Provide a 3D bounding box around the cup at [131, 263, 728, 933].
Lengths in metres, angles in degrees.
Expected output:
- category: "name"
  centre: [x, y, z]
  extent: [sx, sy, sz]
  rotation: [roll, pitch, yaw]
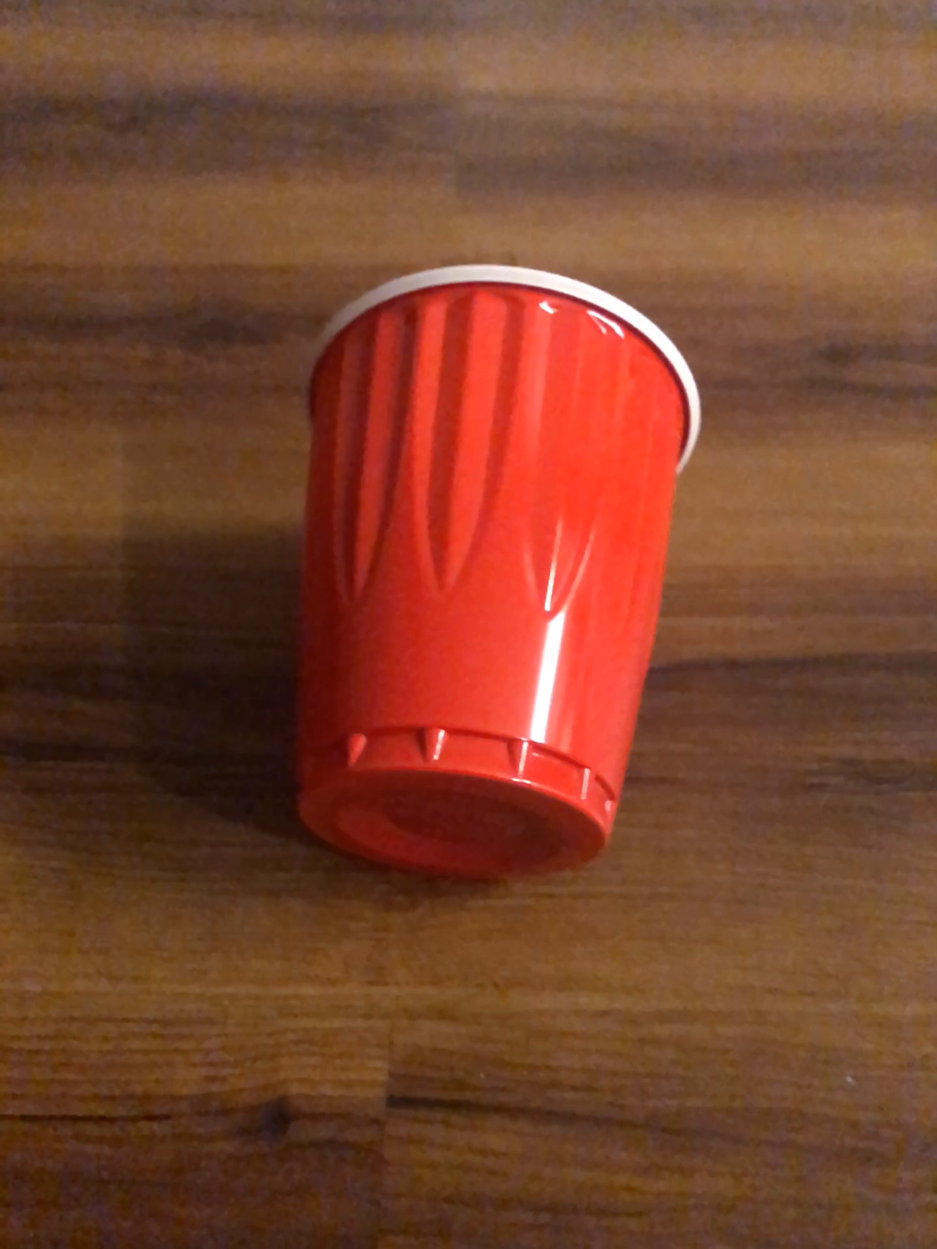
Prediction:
- category: "cup"
  centre: [0.001, -0.005, 0.240]
  extent: [0.099, 0.089, 0.115]
  rotation: [6, 59, 5]
